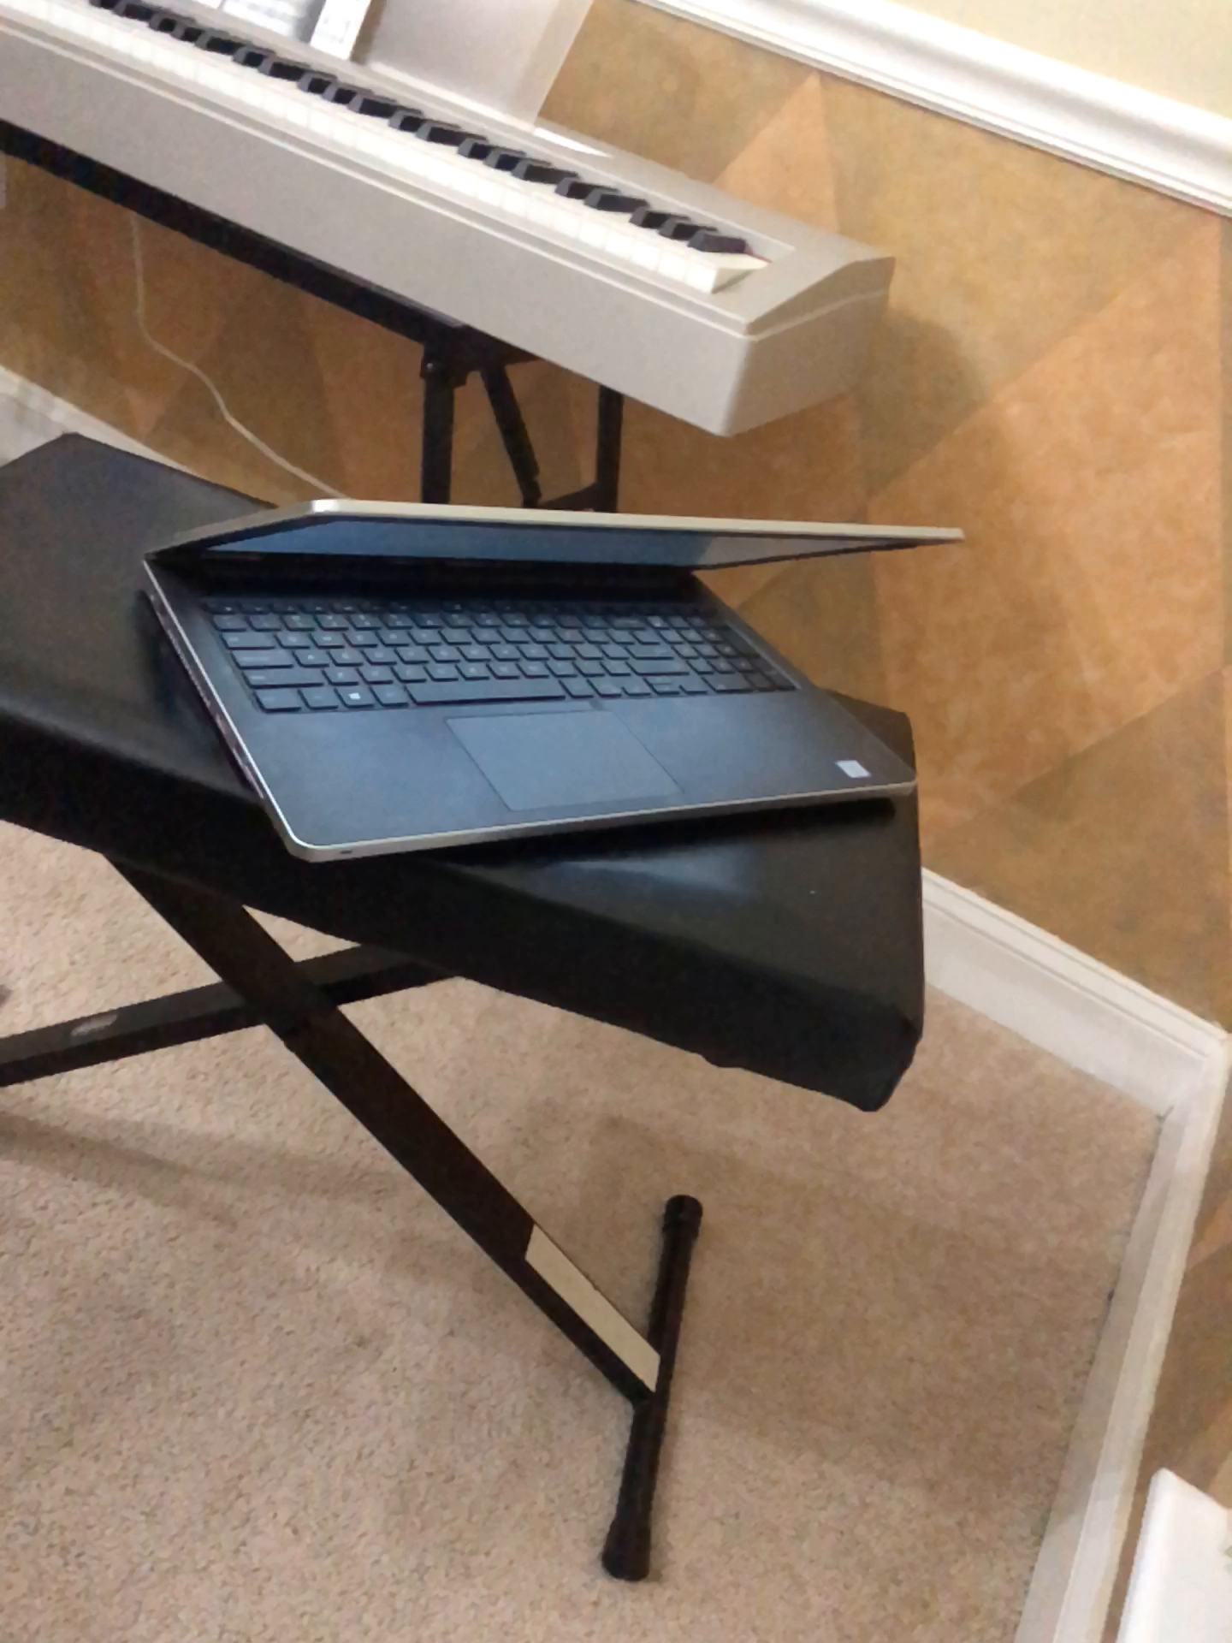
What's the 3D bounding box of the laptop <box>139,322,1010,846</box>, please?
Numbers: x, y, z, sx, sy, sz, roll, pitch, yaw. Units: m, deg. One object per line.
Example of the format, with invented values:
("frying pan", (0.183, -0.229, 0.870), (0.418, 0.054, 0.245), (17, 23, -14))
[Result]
("laptop", (-0.026, -0.138, 0.741), (0.376, 0.132, 0.257), (-7, 42, -34))
